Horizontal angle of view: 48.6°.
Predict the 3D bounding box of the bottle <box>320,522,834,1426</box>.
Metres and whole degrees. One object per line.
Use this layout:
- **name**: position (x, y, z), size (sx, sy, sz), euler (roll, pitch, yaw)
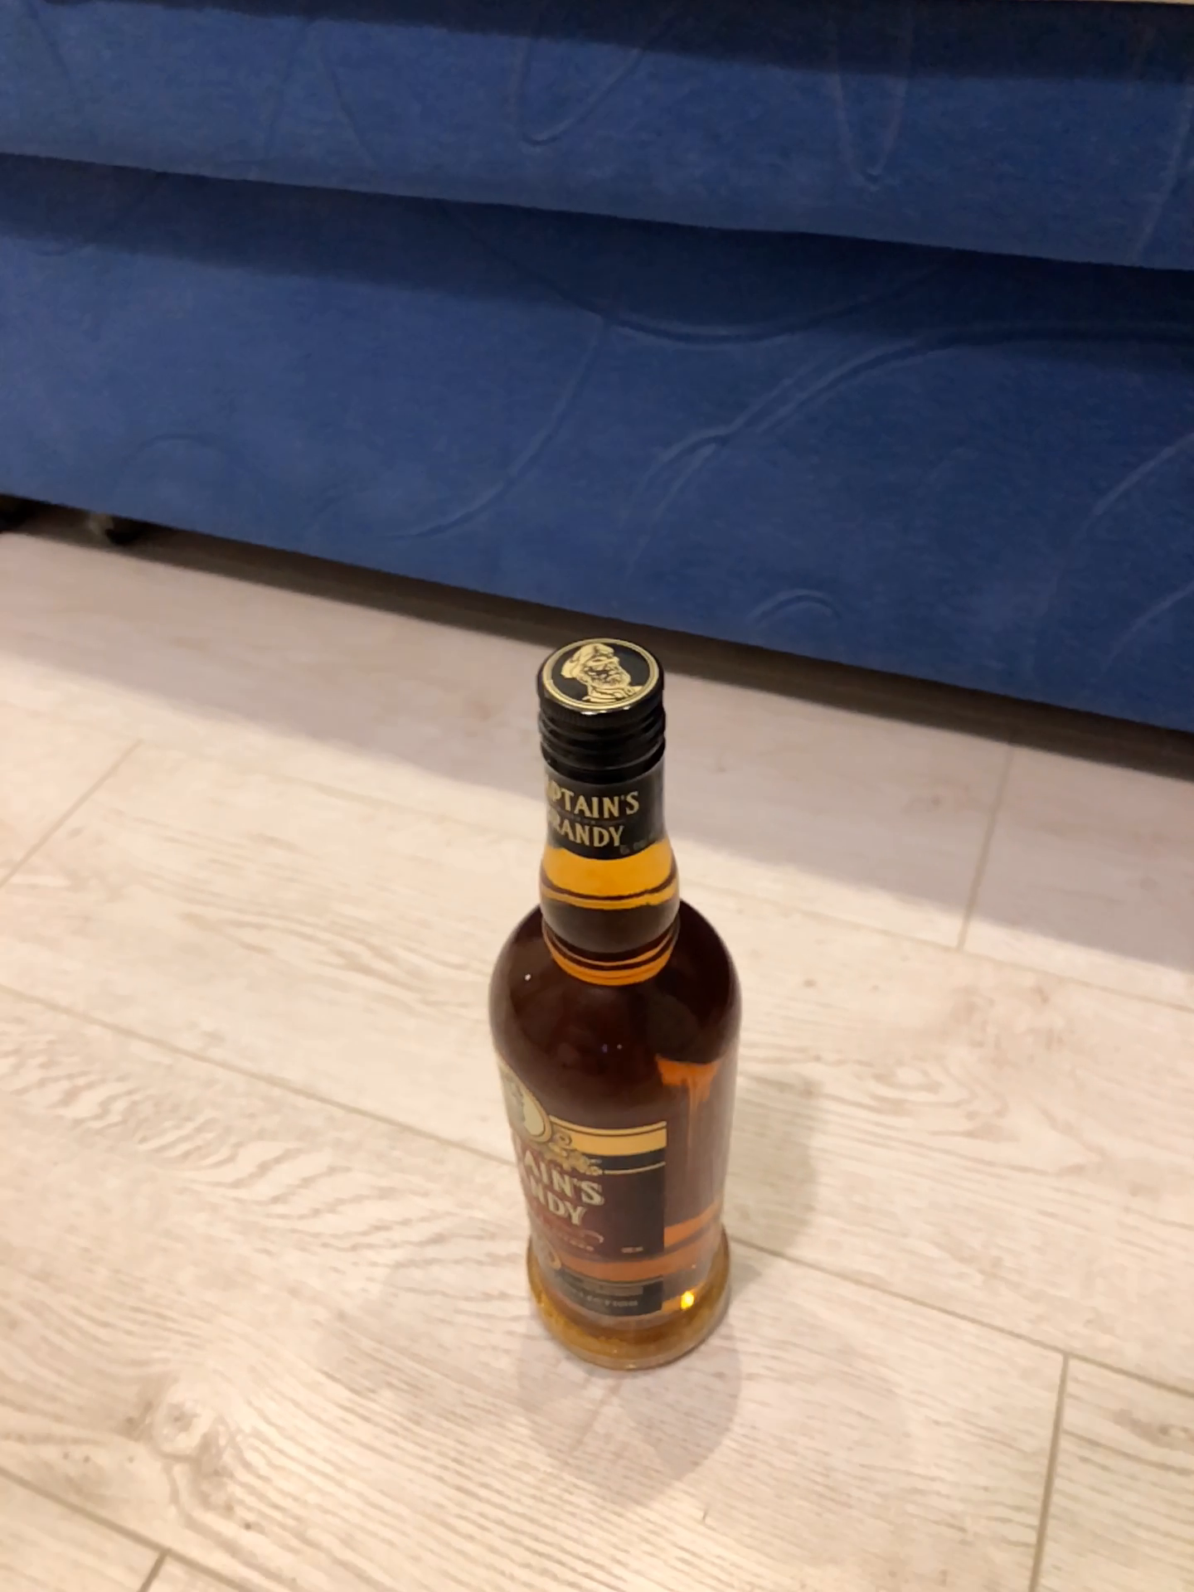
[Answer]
- **bottle**: position (0.000, 0.066, 0.372), size (0.080, 0.257, 0.080), euler (-2, 42, 2)
